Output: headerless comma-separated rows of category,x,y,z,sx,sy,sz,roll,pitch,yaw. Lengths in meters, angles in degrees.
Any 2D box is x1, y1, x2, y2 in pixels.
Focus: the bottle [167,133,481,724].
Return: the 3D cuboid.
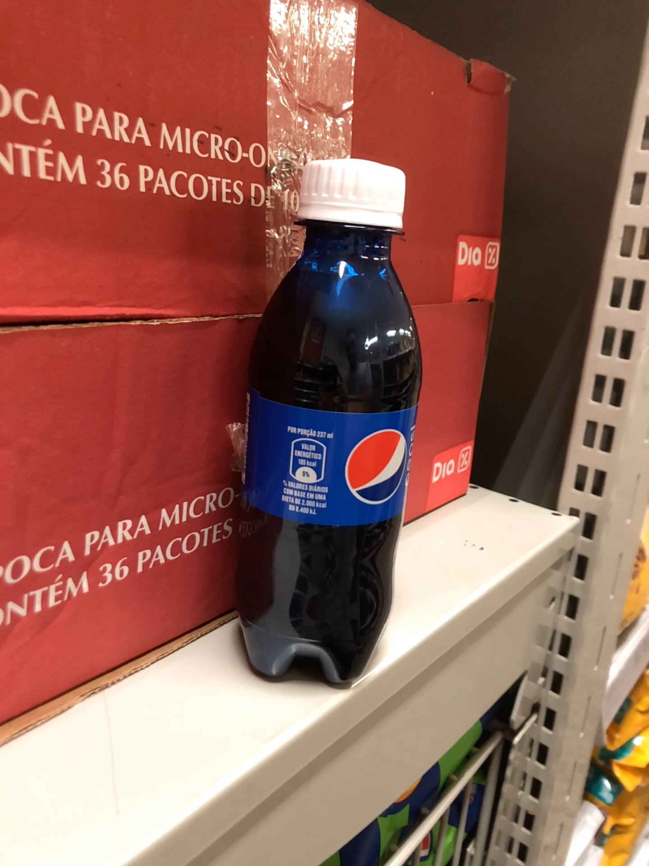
bottle,-0.002,-0.006,0.214,0.060,0.149,0.060,3,17,-1
